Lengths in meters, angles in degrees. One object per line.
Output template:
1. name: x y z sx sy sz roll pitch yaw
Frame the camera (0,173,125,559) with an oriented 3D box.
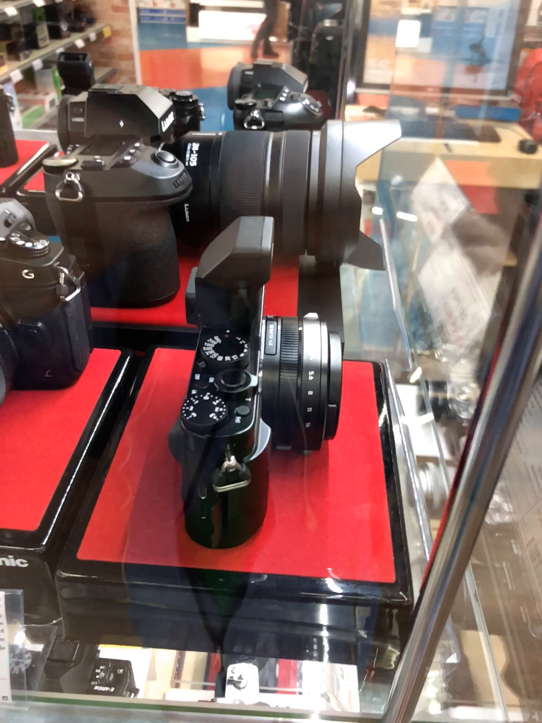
1. camera: -0.135 -0.011 0.251 0.098 0.081 0.150 4 36 3

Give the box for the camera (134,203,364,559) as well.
1. camera: -0.006 0.003 0.257 0.069 0.098 0.117 2 36 1

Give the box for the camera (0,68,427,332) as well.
1. camera: -0.030 -0.121 0.421 0.226 0.114 0.176 2 36 1
